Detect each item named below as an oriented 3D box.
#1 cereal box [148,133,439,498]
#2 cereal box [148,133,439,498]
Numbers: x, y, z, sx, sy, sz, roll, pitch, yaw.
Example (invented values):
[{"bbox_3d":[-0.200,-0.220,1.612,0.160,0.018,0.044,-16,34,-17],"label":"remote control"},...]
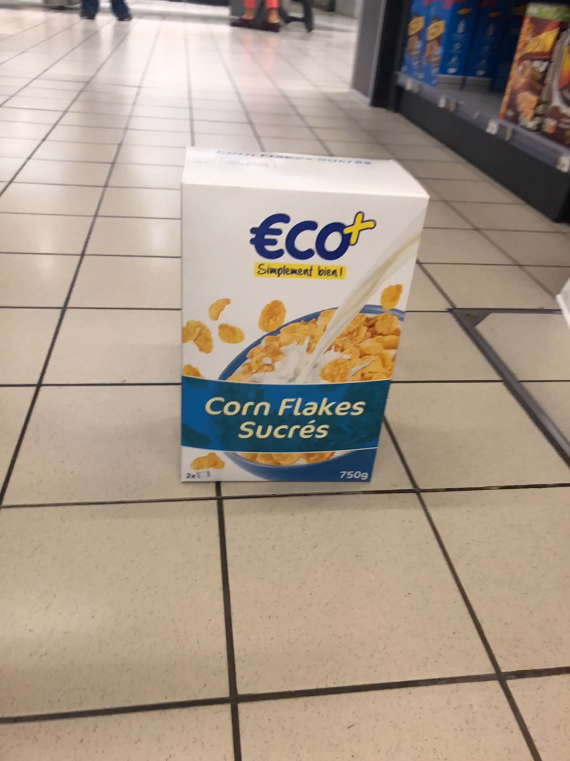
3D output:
[{"bbox_3d":[-0.009,-0.051,0.578,0.210,0.298,0.131,2,30,-7],"label":"cereal box"},{"bbox_3d":[-0.009,-0.051,0.578,0.210,0.298,0.131,2,30,-7],"label":"cereal box"}]
